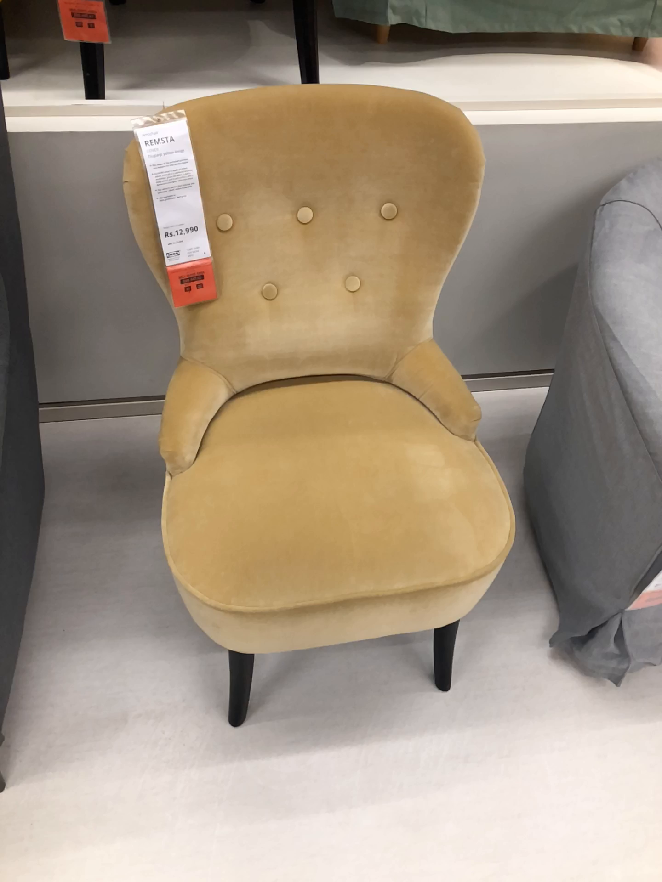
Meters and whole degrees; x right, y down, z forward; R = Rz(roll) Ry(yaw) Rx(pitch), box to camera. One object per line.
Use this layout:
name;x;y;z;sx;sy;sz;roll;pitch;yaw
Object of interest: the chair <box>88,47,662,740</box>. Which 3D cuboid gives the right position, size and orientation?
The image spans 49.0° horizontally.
chair;0.009;-0.036;1.166;0.580;0.865;0.644;-6;51;-9
